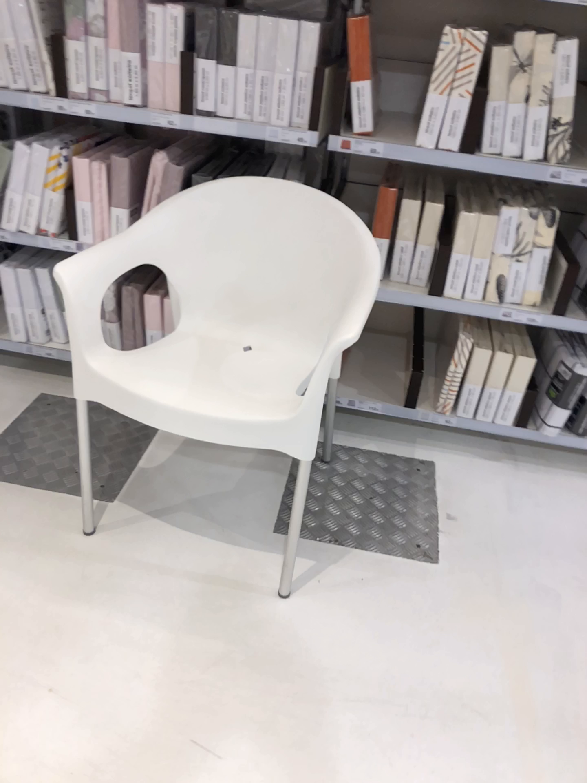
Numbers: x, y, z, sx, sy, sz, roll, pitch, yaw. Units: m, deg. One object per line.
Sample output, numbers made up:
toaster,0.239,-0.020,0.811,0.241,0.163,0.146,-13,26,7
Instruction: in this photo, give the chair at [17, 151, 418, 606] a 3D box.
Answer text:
chair,-0.126,-0.067,1.417,0.590,0.704,0.554,14,32,13
